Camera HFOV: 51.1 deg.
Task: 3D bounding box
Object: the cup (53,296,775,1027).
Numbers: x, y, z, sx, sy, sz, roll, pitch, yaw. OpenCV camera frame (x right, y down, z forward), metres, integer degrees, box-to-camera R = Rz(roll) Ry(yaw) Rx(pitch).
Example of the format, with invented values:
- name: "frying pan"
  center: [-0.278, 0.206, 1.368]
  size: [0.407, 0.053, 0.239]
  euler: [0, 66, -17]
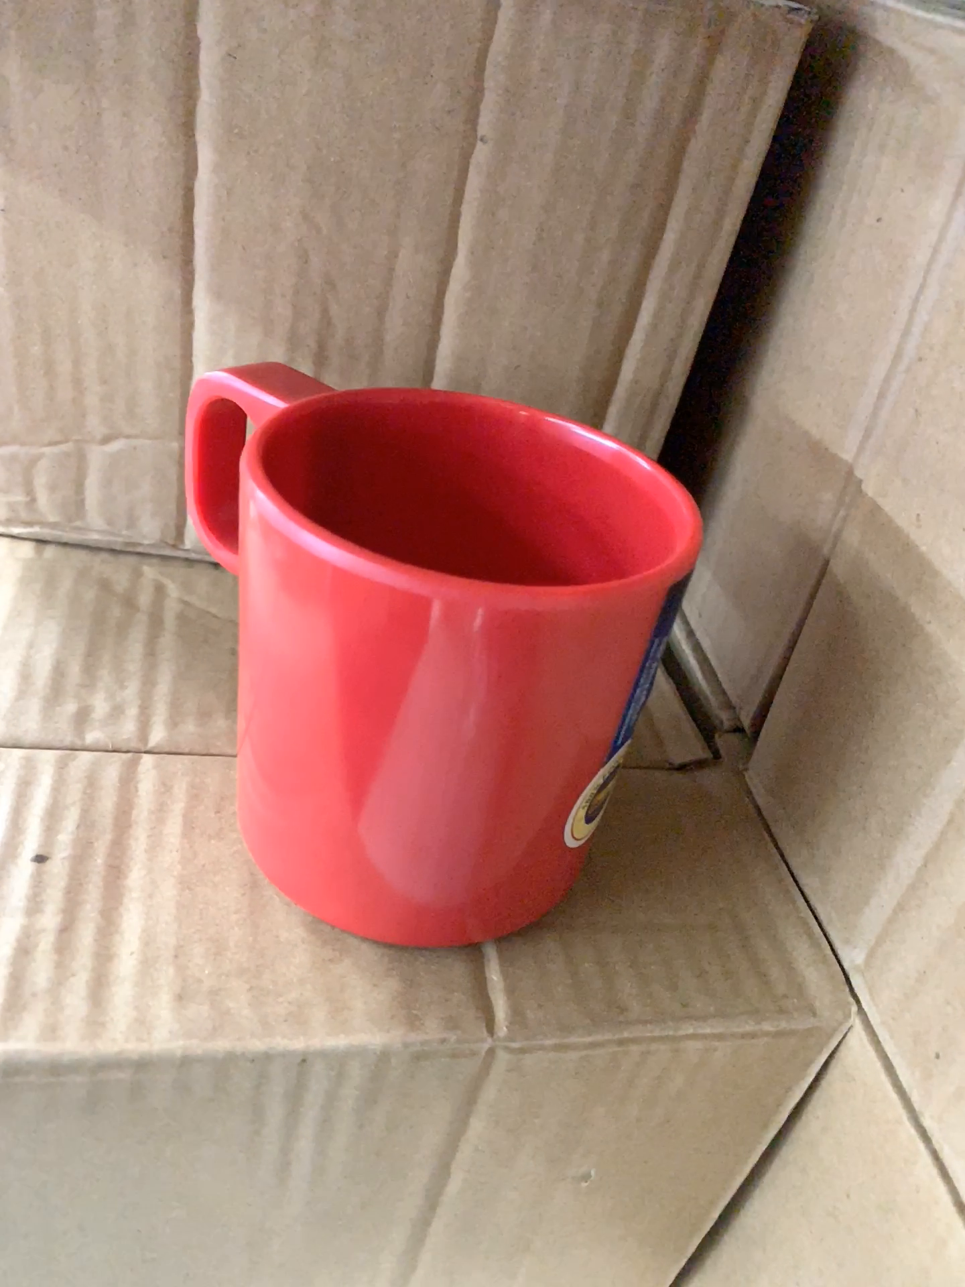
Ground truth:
- name: "cup"
  center: [-0.019, -0.007, 0.183]
  size: [0.066, 0.073, 0.104]
  euler: [-23, 47, -39]
